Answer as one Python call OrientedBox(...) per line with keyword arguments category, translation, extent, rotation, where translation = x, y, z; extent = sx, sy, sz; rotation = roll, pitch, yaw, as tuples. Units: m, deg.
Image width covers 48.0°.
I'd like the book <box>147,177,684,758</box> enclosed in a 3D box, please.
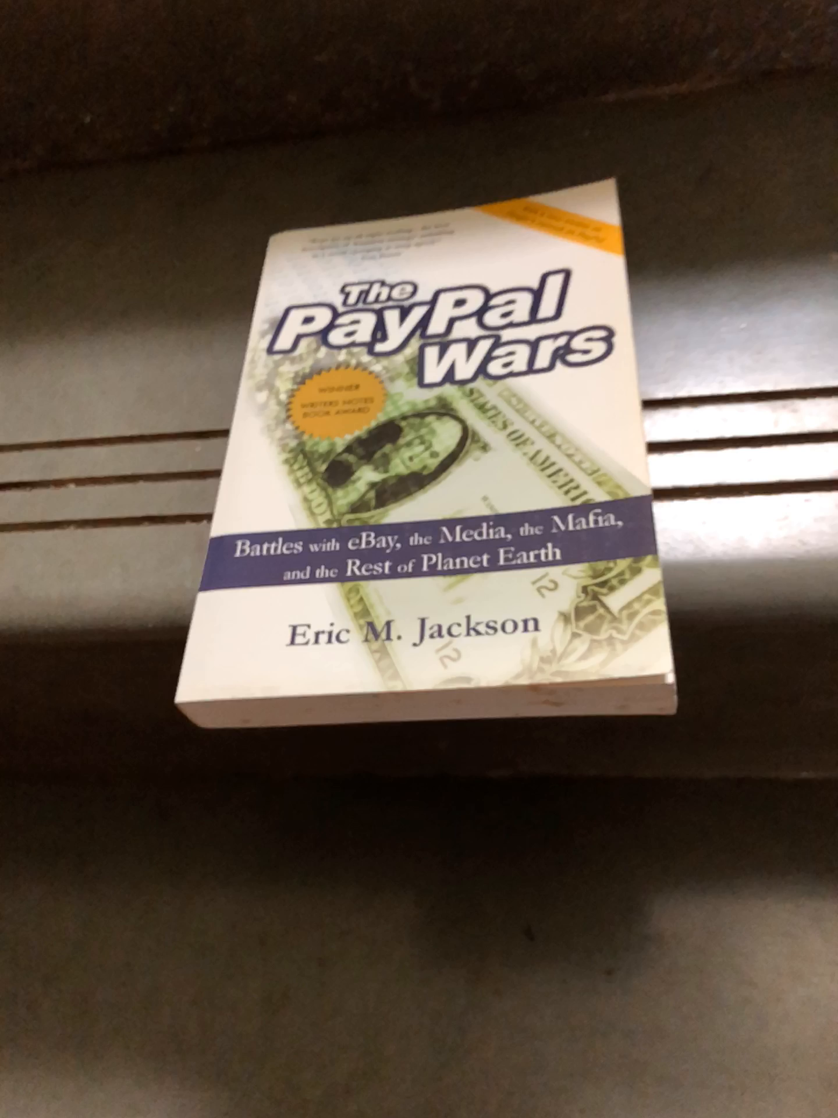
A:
OrientedBox(category="book", translation=(0.002, -0.043, 0.331), extent=(0.150, 0.030, 0.220), rotation=(-4, 56, 10))
